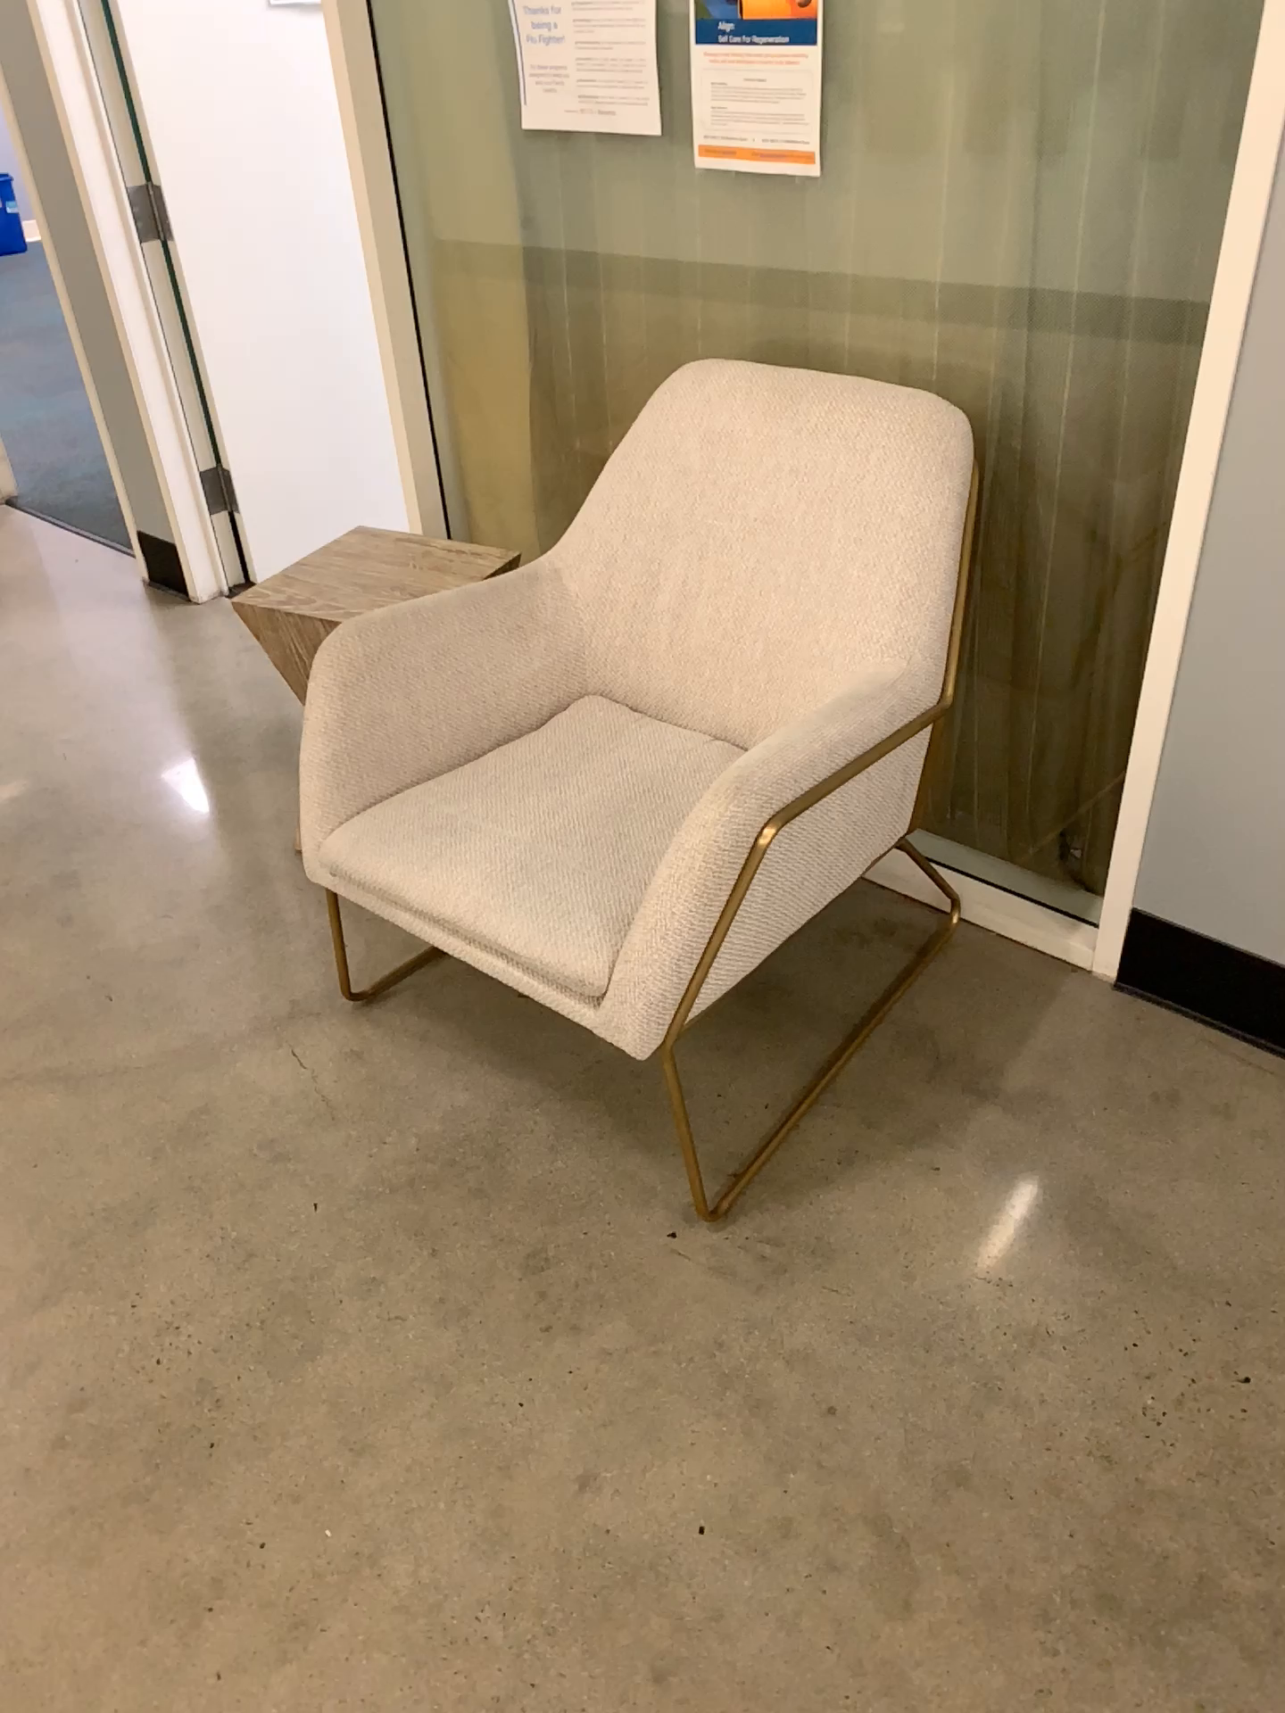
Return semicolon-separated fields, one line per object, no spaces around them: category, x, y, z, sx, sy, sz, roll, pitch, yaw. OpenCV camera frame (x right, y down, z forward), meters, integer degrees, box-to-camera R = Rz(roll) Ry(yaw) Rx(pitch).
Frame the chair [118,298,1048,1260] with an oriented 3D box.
chair;-0.034;-0.178;1.787;0.783;0.865;0.772;22;43;32
